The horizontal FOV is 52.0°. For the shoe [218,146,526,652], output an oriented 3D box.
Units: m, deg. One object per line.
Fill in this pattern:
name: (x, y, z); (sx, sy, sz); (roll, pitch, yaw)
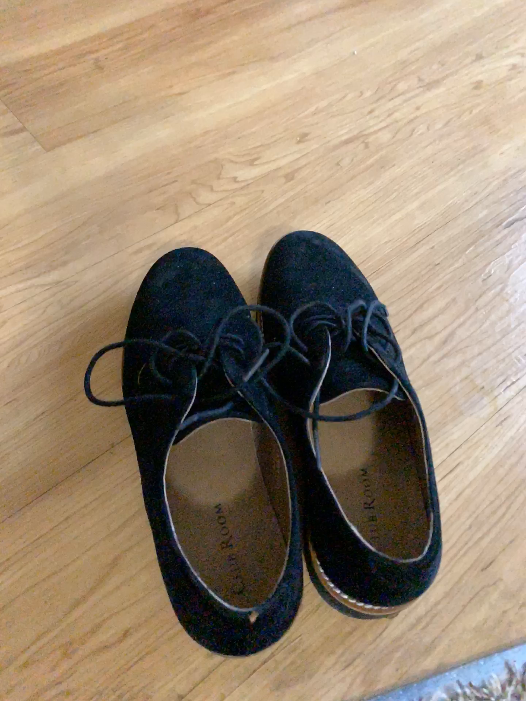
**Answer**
shoe: (0.049, 0.004, 0.344); (0.110, 0.070, 0.311); (-8, 59, -8)

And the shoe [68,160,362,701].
shoe: (-0.047, 0.020, 0.331); (0.100, 0.070, 0.311); (-12, 60, -10)
